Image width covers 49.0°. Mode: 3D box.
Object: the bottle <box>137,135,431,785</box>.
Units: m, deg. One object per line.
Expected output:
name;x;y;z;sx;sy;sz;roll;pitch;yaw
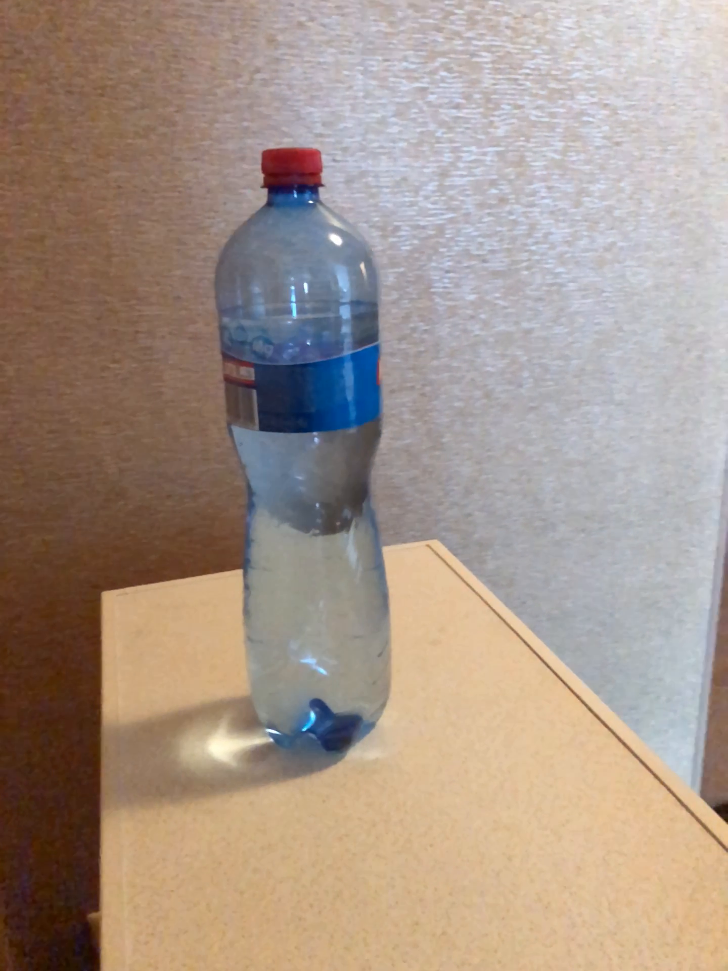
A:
bottle;-0.035;-0.014;0.444;0.100;0.318;0.100;-2;18;1
